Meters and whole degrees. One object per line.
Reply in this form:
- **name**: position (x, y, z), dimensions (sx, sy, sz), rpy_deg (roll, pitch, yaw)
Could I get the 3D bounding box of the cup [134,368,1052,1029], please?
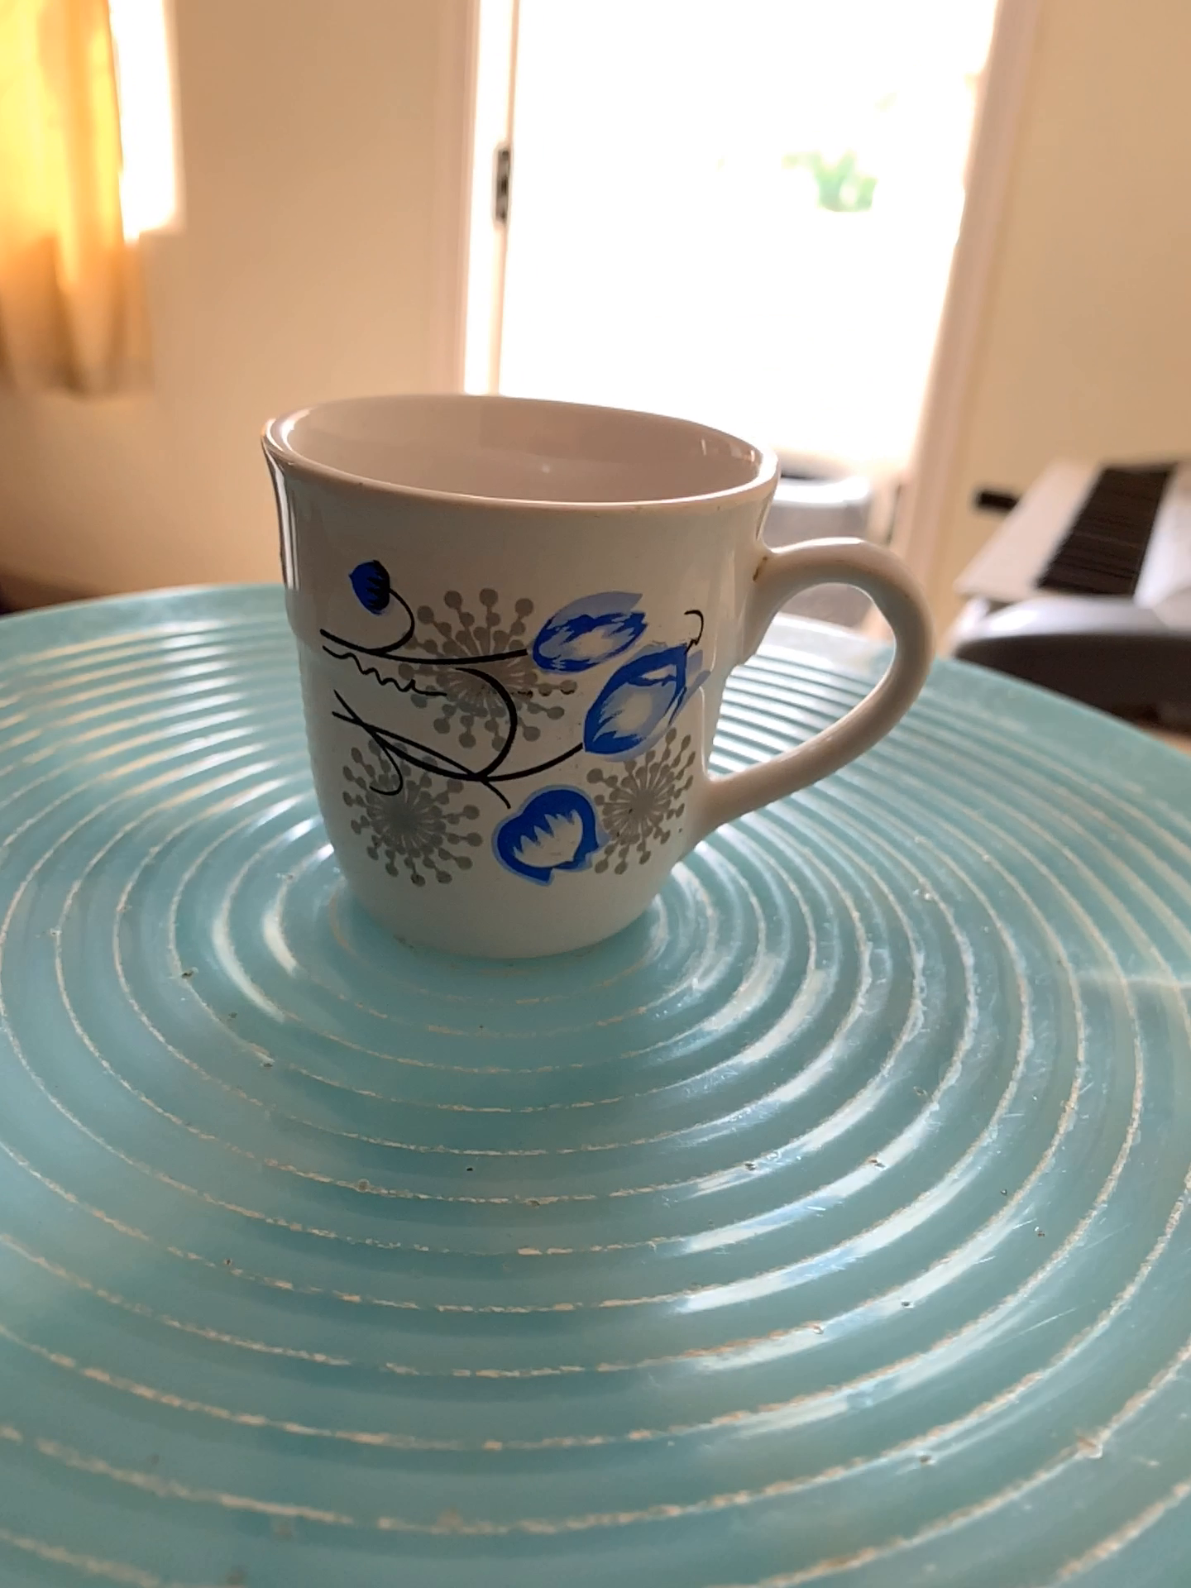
- **cup**: position (-0.002, -0.017, 0.168), dimensions (0.090, 0.060, 0.071), rpy_deg (4, 25, -3)
